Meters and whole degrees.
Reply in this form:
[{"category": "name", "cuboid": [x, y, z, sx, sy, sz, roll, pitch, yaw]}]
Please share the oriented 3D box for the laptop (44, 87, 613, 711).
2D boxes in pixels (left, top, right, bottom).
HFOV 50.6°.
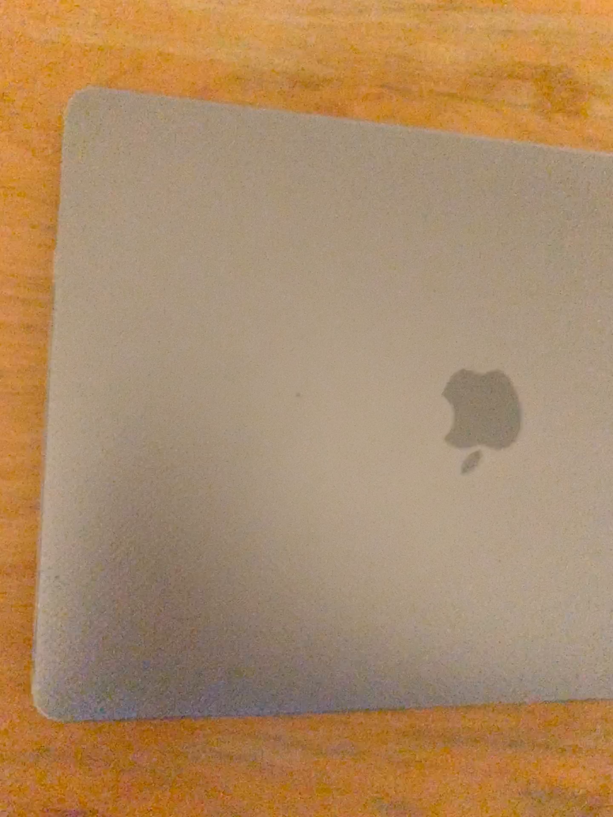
[{"category": "laptop", "cuboid": [0.060, 0.002, 0.242, 0.292, 0.005, 0.210, 3, 86, -9]}]
